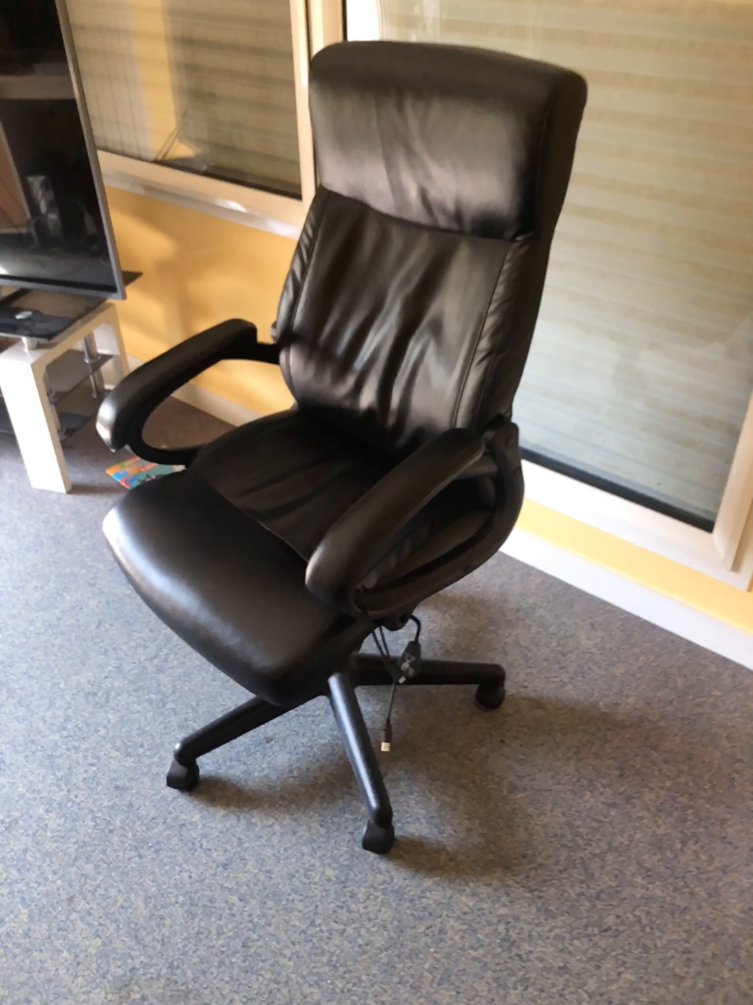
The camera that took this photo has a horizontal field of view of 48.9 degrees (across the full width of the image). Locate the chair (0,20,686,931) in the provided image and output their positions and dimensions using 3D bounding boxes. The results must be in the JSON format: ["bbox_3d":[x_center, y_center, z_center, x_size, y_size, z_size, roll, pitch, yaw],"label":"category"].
[{"bbox_3d":[-0.092,-0.089,1.355,0.661,1.113,0.754,28,44,33],"label":"chair"}]
